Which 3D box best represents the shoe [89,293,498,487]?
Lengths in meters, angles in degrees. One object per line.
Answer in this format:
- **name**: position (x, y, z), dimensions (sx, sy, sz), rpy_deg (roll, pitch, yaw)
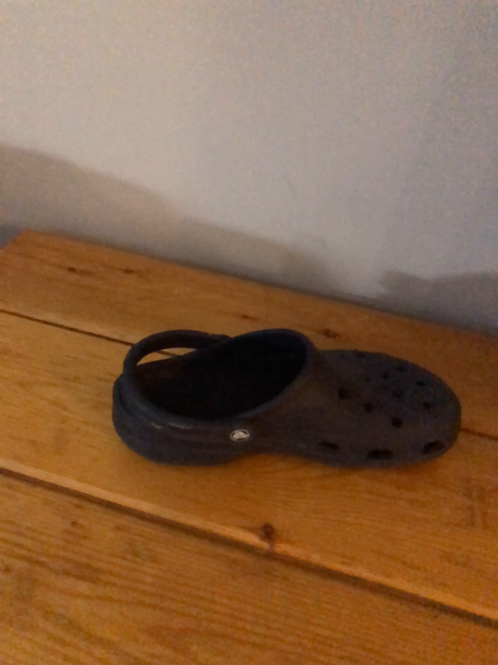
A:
- **shoe**: position (0.031, 0.046, 0.461), dimensions (0.290, 0.080, 0.130), rpy_deg (3, 41, -3)
